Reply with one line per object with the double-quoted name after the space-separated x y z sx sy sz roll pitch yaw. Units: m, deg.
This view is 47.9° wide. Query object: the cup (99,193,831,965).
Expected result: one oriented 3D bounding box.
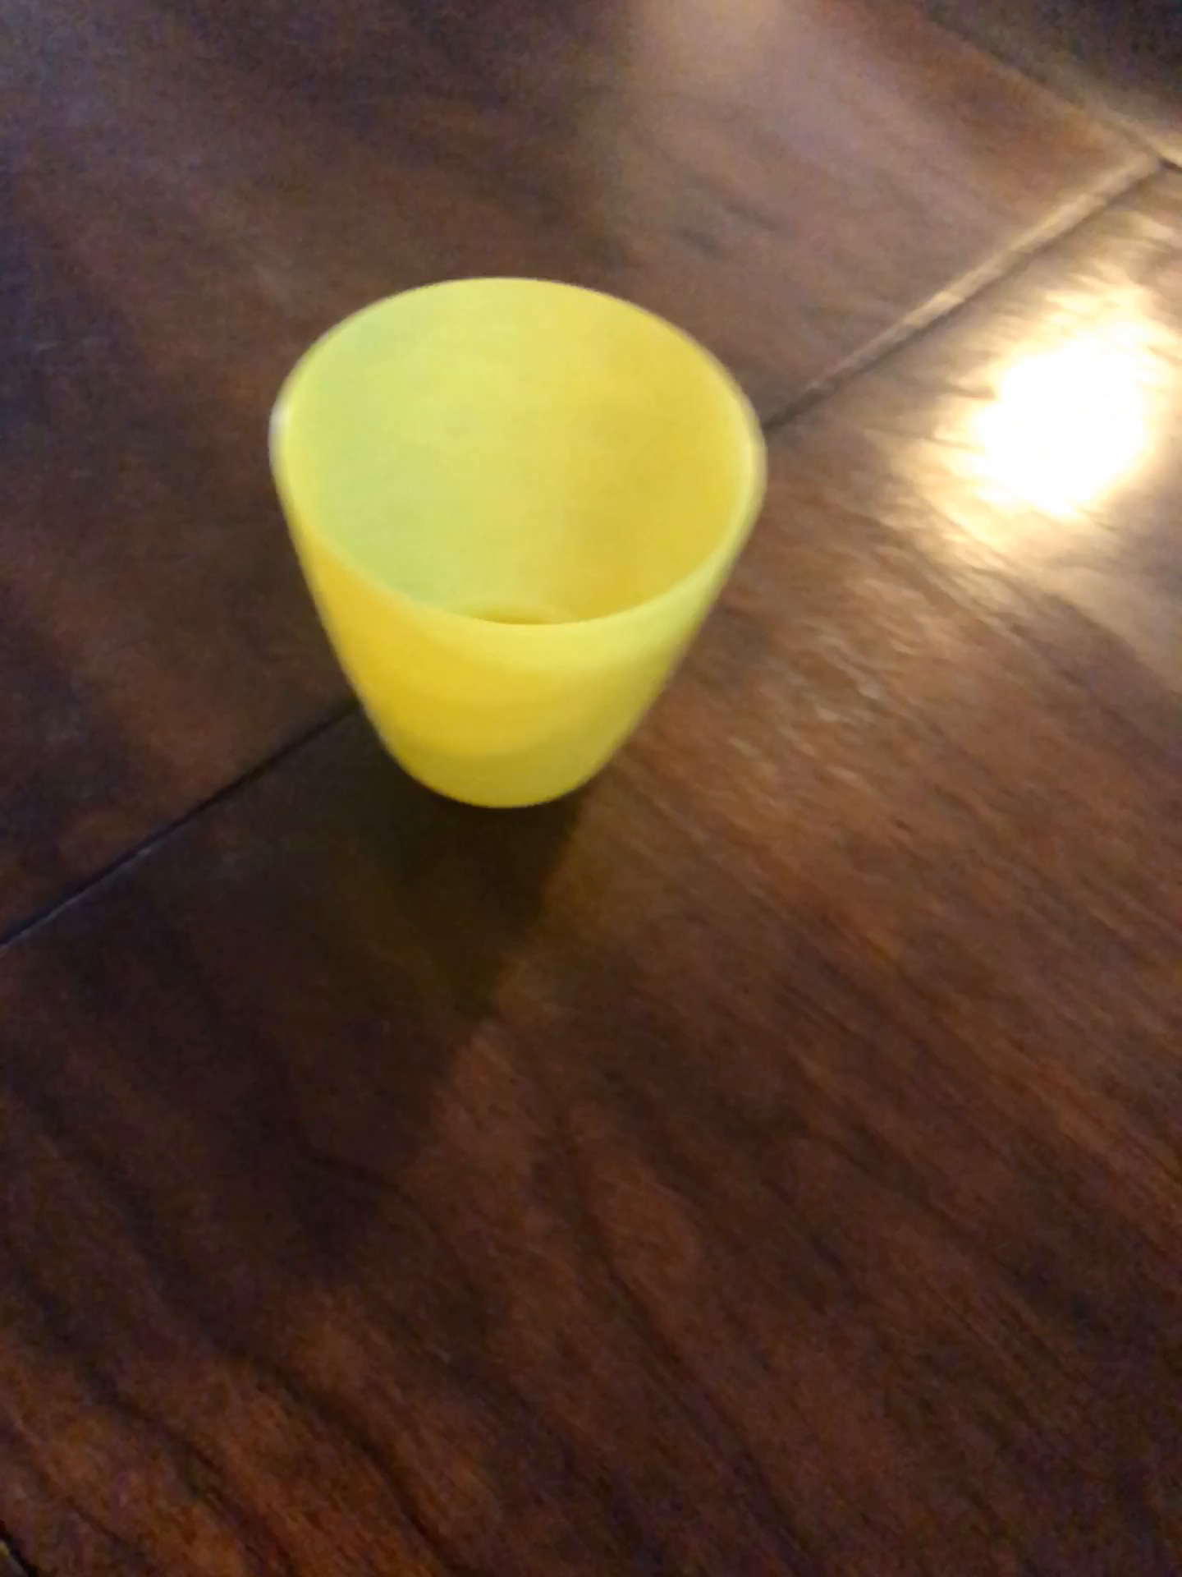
-0.023 -0.036 0.239 0.080 0.080 0.080 3 59 -5 "cup"
